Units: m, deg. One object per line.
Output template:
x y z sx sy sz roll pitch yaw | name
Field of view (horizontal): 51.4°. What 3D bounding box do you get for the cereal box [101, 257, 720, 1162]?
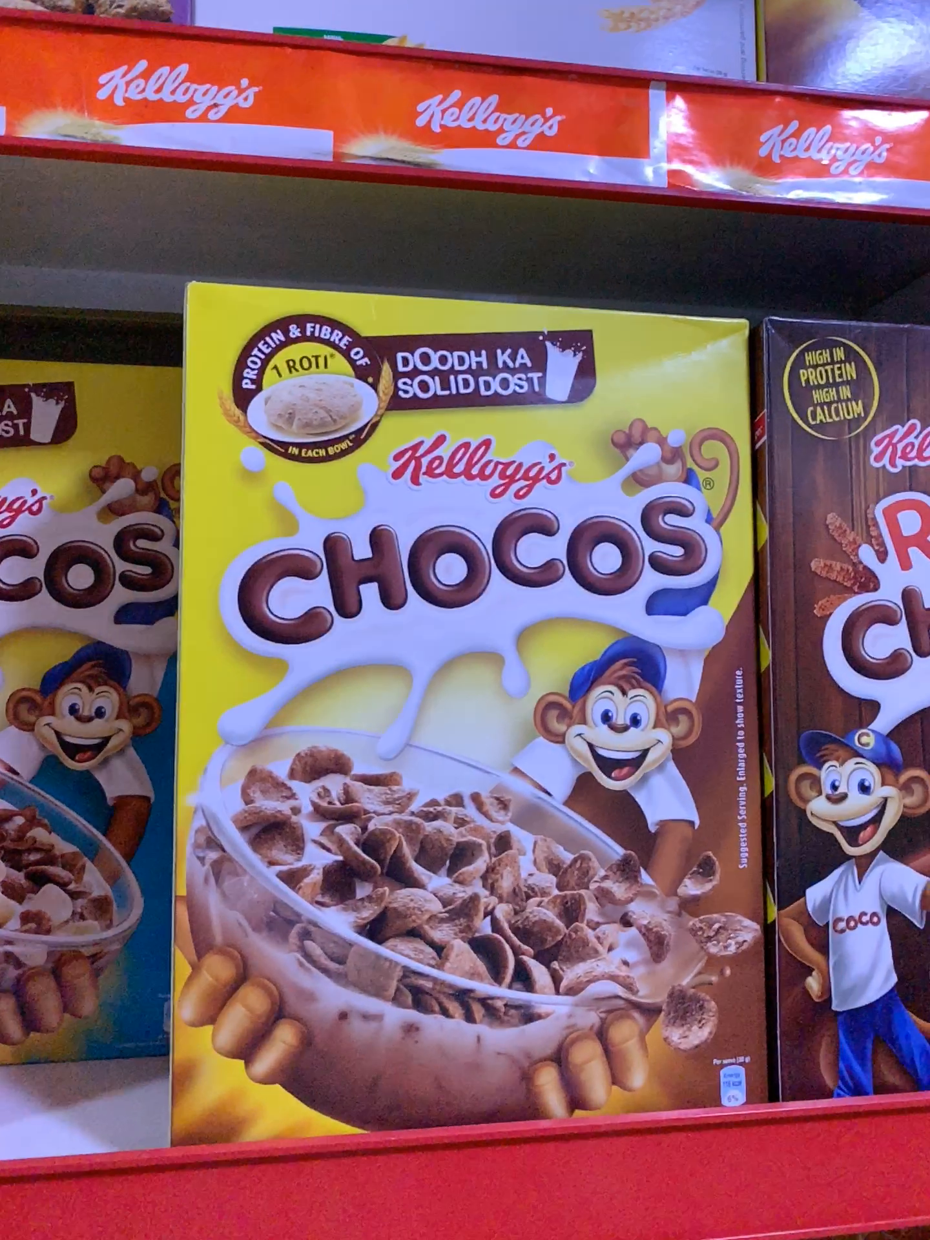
-0.015 0.022 0.301 0.170 0.240 0.060 1 -3 -9 | cereal box
